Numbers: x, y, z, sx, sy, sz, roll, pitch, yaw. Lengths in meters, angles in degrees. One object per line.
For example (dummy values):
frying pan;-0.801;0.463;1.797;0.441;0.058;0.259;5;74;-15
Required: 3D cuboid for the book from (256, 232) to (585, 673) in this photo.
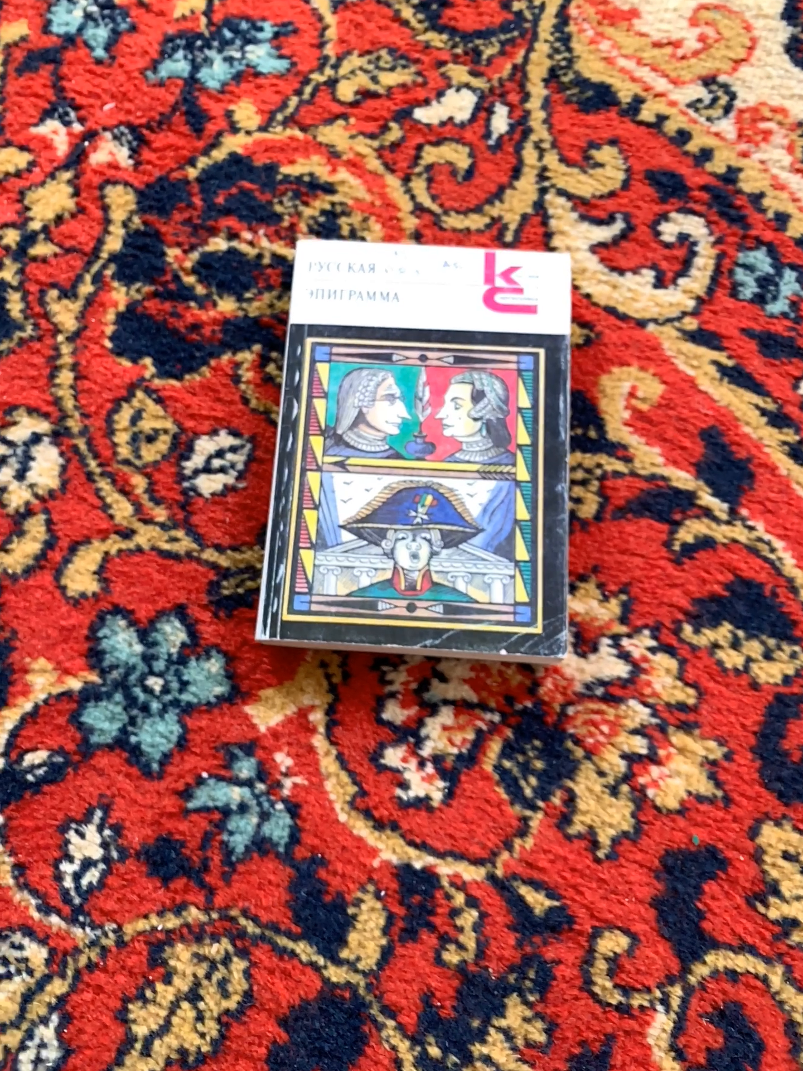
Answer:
book;0.011;-0.035;0.316;0.110;0.022;0.163;4;74;2
